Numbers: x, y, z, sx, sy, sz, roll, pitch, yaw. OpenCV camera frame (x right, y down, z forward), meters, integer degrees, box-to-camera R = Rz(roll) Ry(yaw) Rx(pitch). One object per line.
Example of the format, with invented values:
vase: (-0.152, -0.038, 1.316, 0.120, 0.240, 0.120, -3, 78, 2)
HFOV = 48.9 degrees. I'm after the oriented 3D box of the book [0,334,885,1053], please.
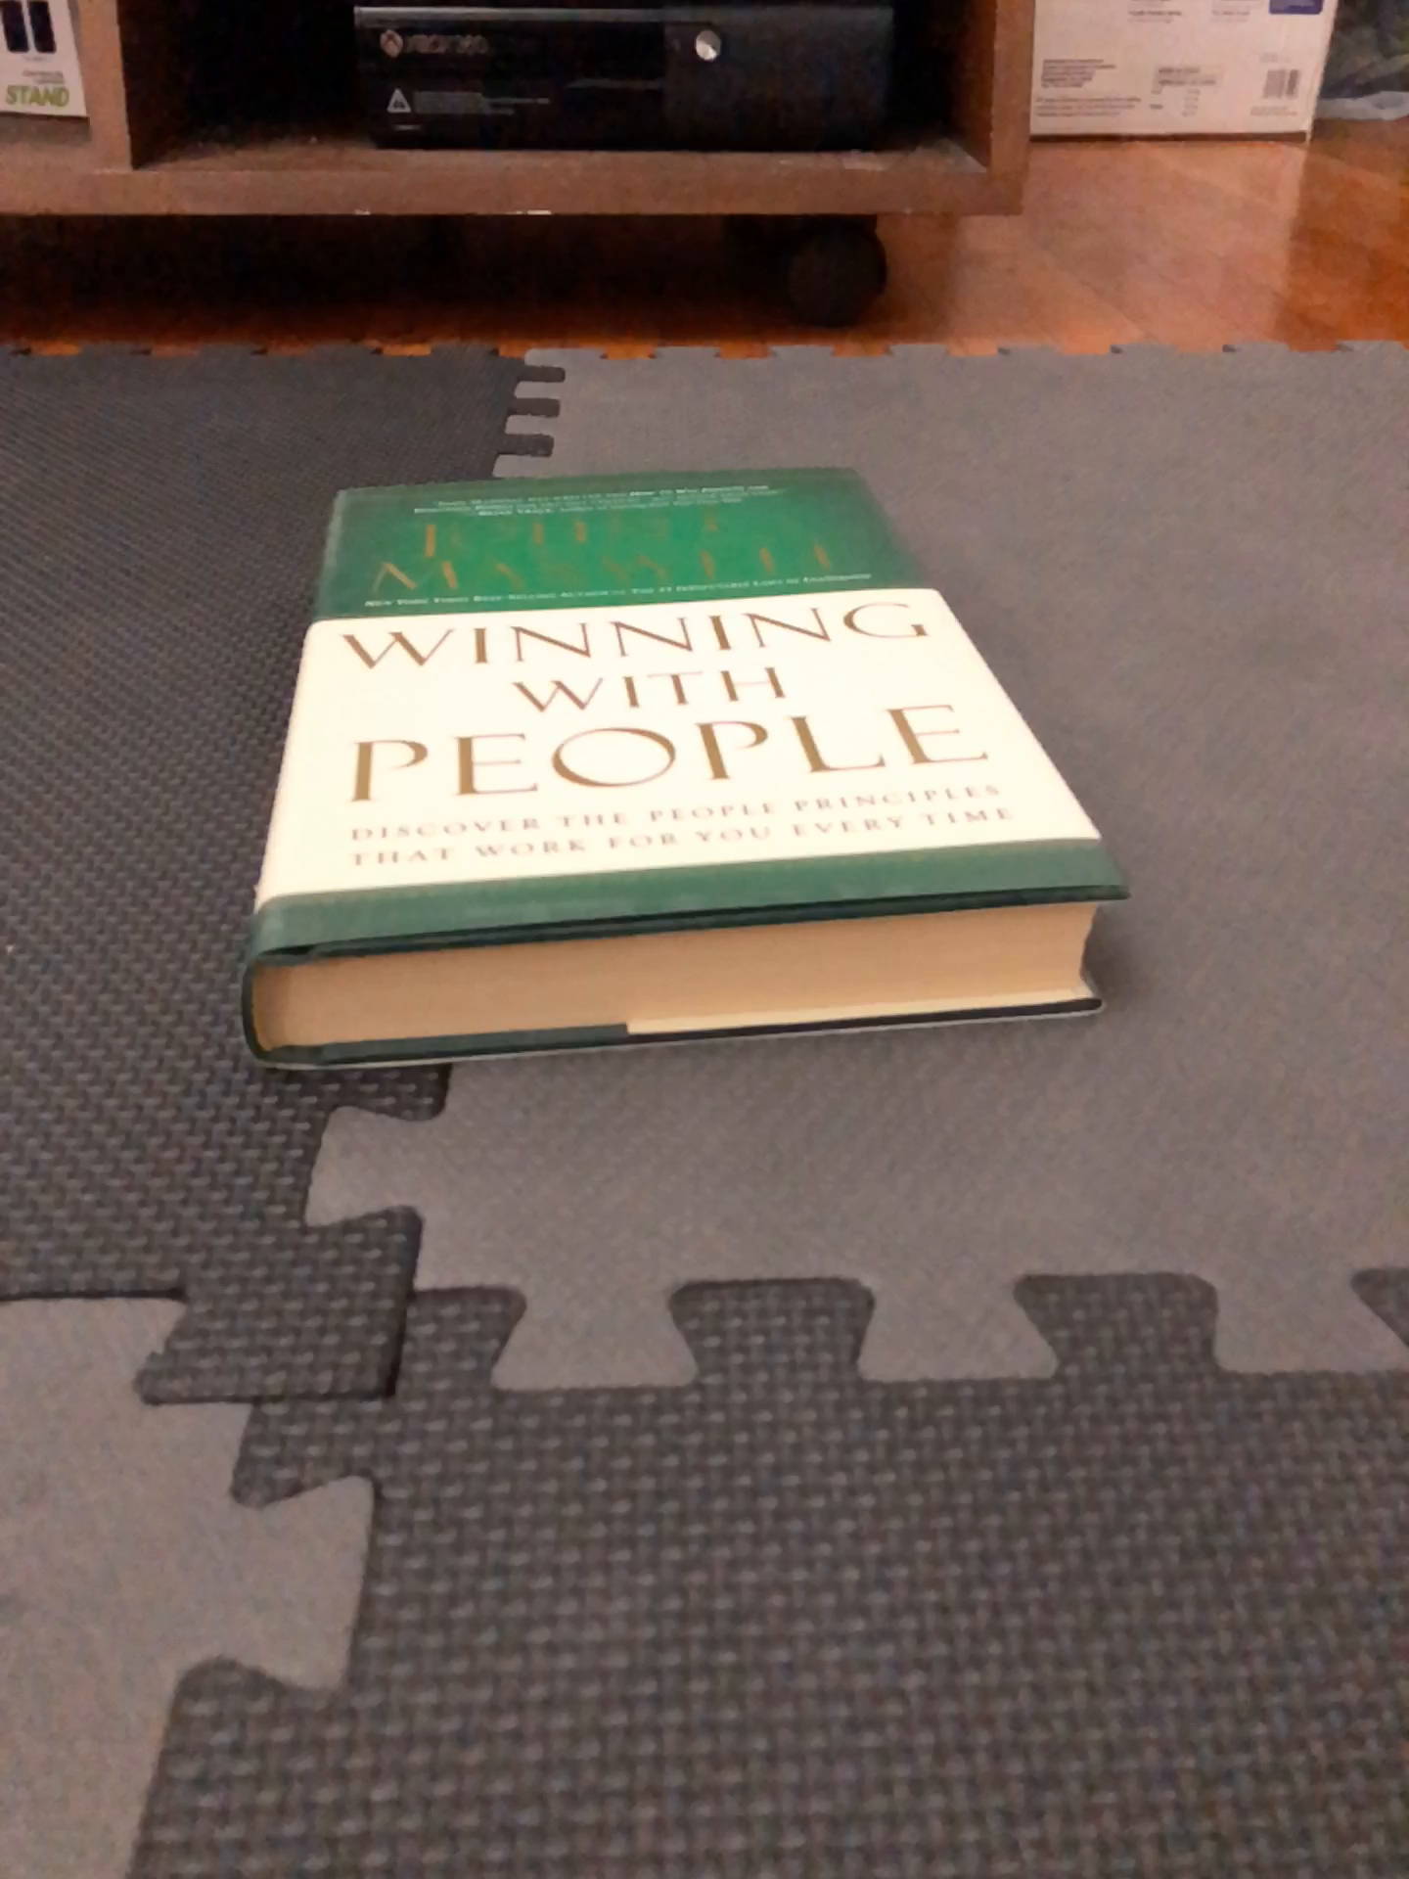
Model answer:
book: (-0.087, -0.082, 0.341, 0.200, 0.030, 0.292, -3, 34, -4)
